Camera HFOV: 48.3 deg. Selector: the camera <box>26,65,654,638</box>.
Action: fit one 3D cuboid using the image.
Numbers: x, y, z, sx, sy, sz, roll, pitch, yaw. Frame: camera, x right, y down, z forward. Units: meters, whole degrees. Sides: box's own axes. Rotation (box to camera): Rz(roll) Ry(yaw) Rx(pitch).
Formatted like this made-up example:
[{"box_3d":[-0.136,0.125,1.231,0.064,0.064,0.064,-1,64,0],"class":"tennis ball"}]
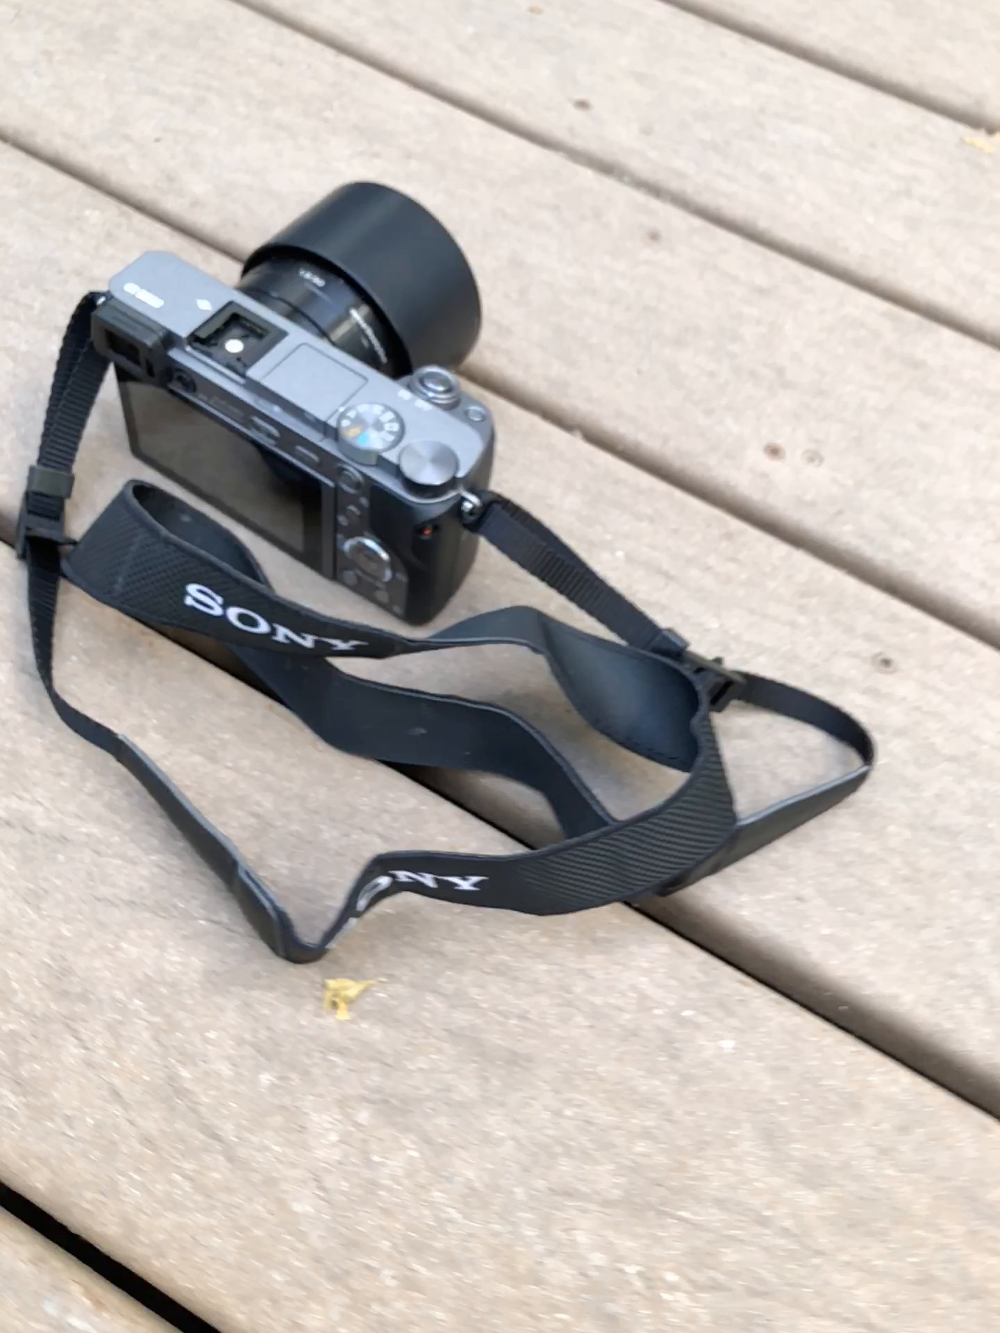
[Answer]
[{"box_3d":[-0.044,-0.097,0.335,0.130,0.070,0.110,31,59,11],"class":"camera"}]
